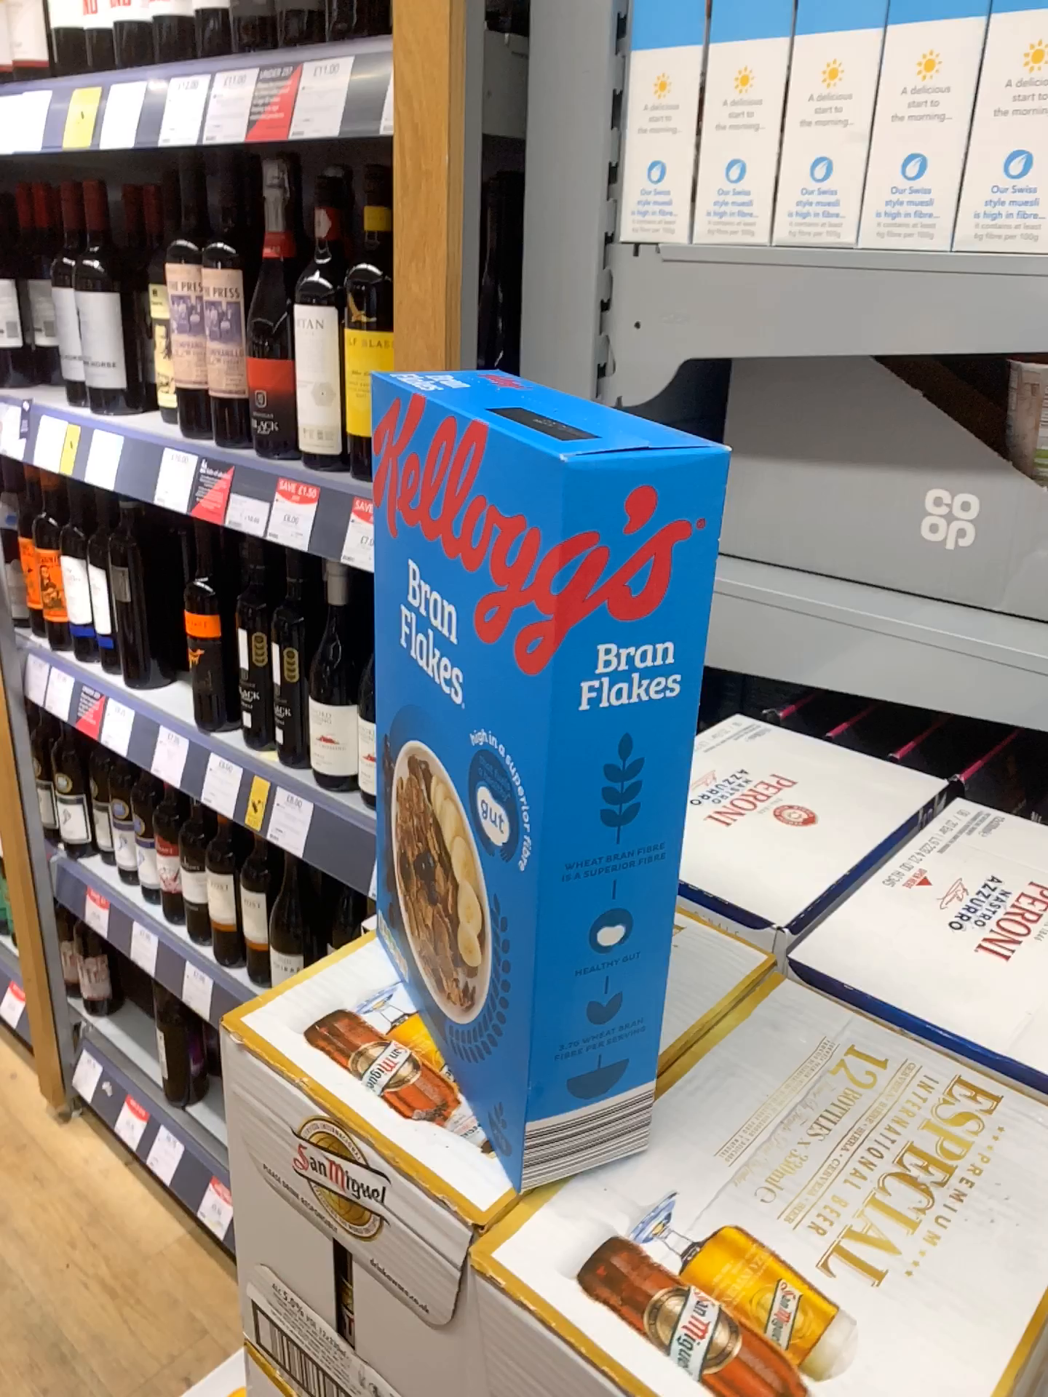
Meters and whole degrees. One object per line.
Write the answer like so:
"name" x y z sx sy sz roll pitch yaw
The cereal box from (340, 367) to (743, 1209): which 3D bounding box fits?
"cereal box" -0.014 0.022 0.457 0.070 0.288 0.202 -8 26 -24
